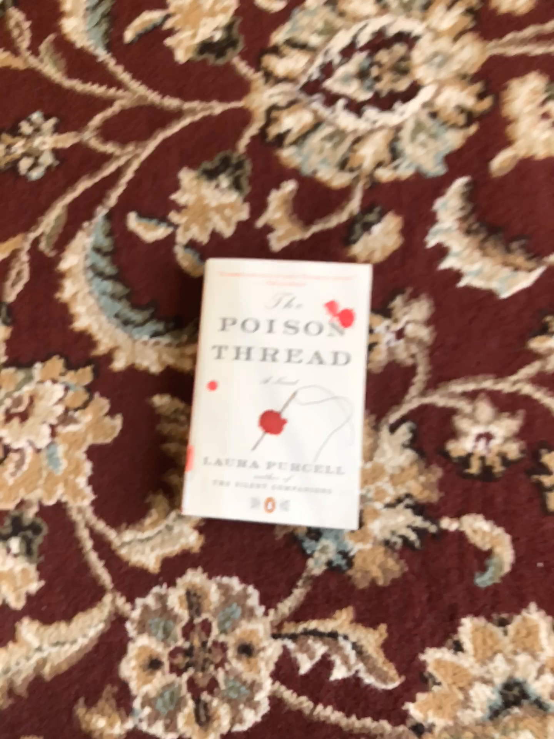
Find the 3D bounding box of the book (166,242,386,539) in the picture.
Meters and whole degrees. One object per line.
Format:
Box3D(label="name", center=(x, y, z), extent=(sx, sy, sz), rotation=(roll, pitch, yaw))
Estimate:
Box3D(label="book", center=(0.002, 0.011, 0.443), extent=(0.140, 0.030, 0.200), rotation=(3, 81, 7))
